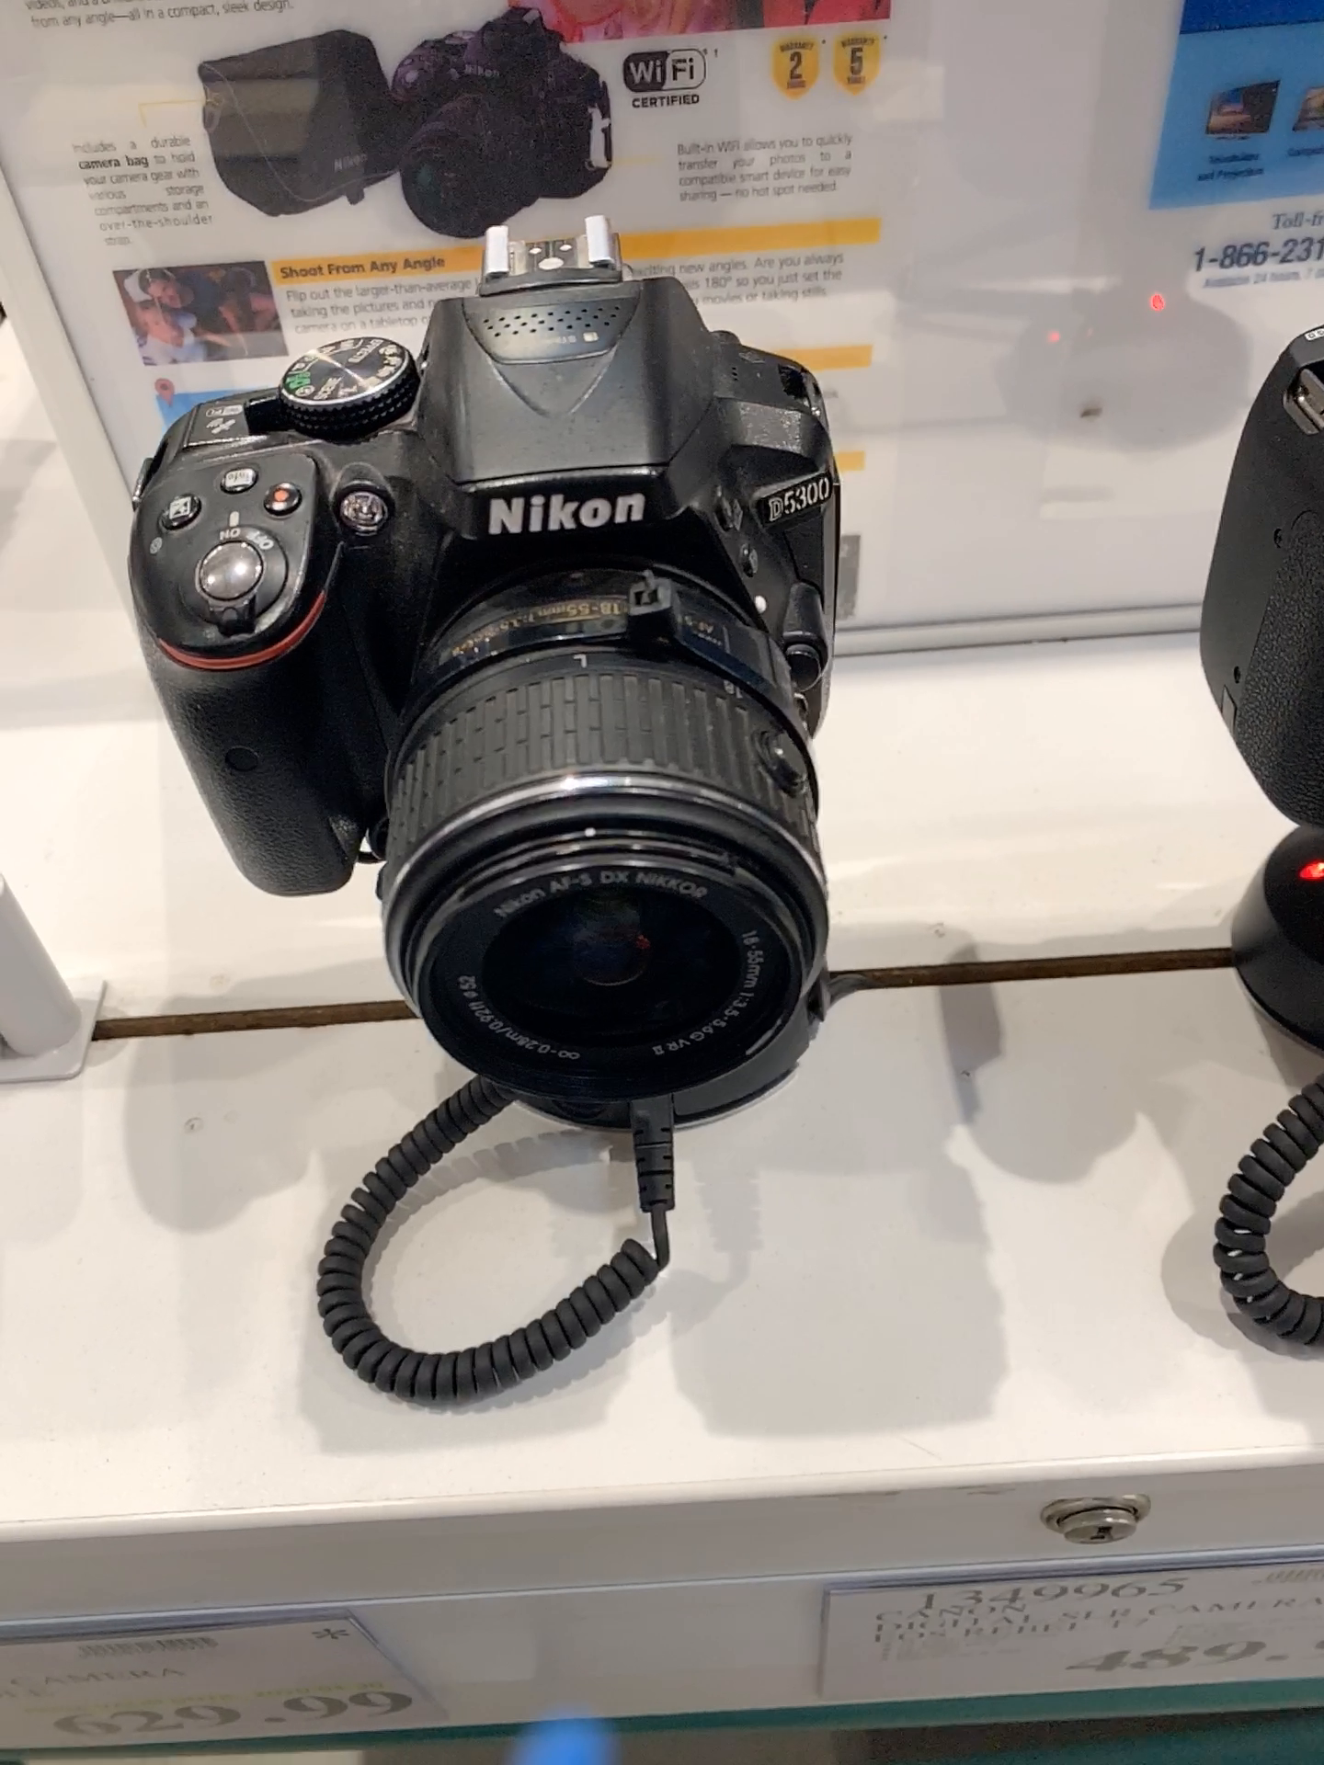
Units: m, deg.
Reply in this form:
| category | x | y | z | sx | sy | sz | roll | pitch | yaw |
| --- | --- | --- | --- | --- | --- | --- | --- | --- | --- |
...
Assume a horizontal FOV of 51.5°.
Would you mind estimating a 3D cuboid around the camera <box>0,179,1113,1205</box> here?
| category | x | y | z | sx | sy | sz | roll | pitch | yaw |
| --- | --- | --- | --- | --- | --- | --- | --- | --- | --- |
| camera | -0.021 | -0.039 | 0.208 | 0.120 | 0.069 | 0.141 | -7 | 46 | -2 |
